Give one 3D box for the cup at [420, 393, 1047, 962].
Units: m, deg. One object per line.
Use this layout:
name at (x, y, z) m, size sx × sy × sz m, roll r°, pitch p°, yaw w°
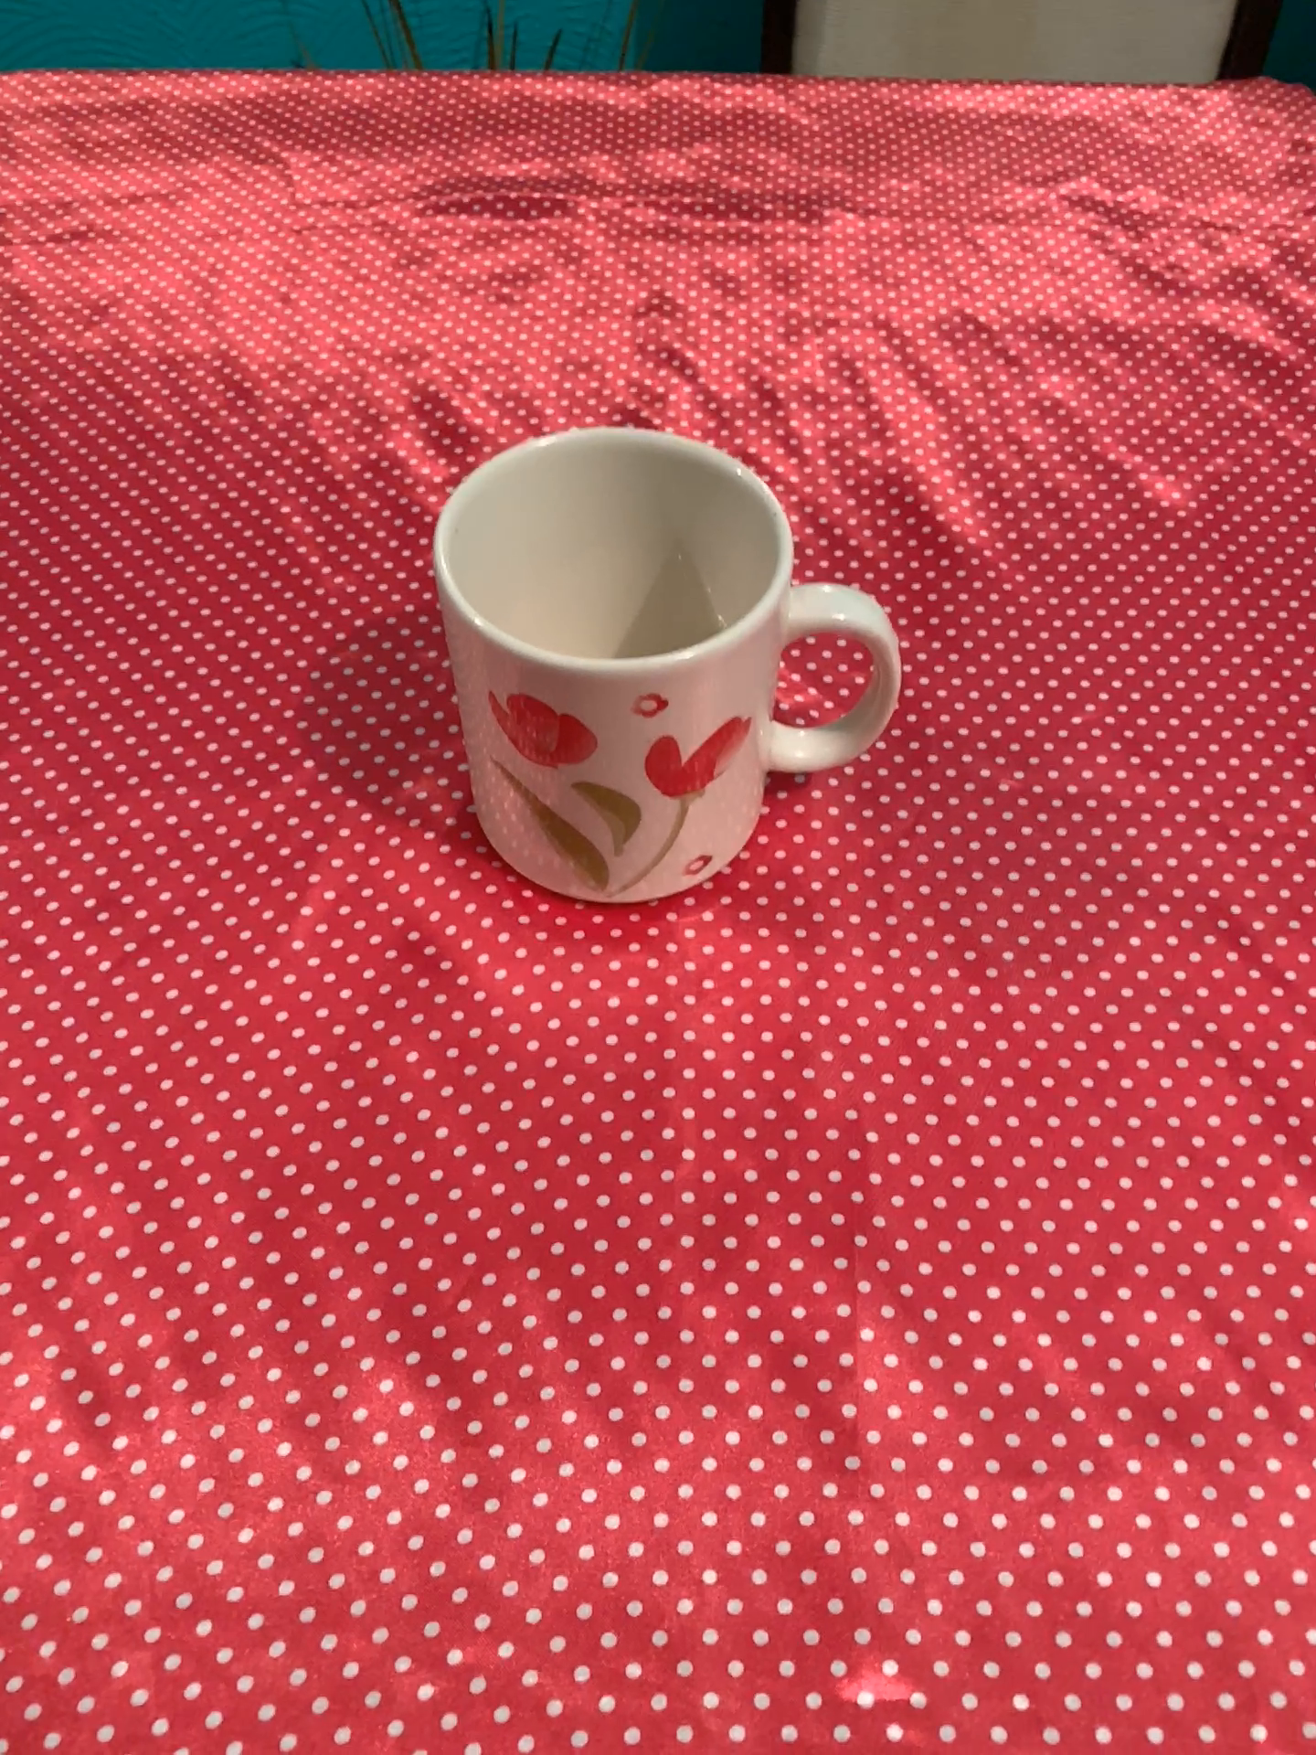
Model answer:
cup at (0.011, -0.046, 0.321) m, size 0.120 × 0.090 × 0.090 m, roll -3°, pitch 54°, yaw -4°
